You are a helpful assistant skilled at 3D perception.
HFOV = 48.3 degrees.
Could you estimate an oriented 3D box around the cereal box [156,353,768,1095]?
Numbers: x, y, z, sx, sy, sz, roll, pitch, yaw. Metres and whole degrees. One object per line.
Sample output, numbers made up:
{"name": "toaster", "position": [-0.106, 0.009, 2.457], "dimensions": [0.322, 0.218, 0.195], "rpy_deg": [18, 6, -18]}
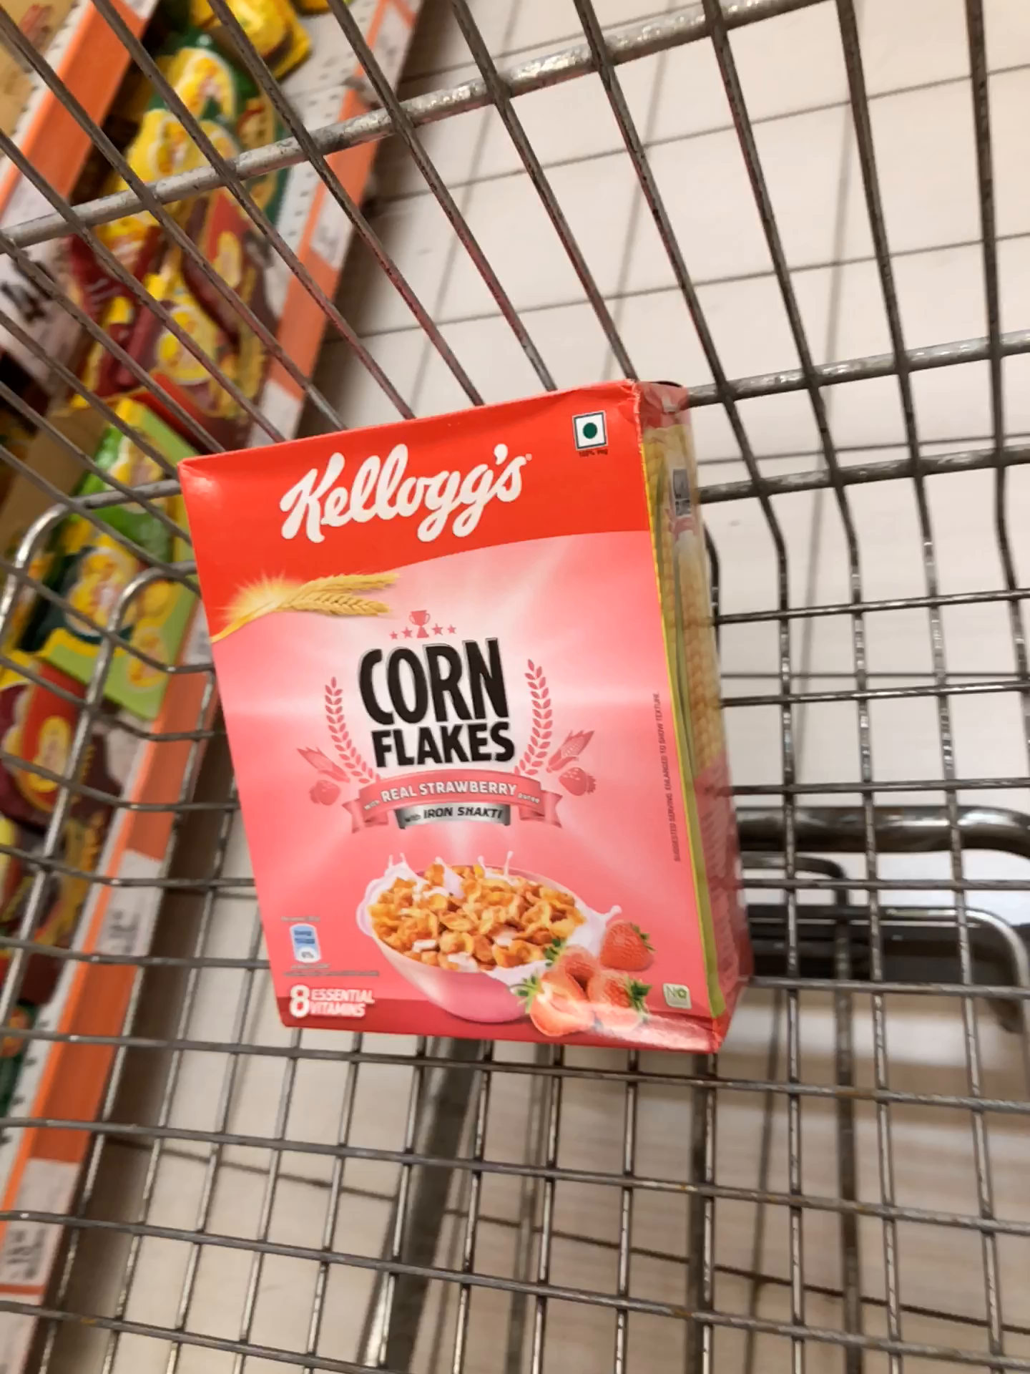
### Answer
{"name": "cereal box", "position": [-0.013, 0.013, 0.322], "dimensions": [0.140, 0.050, 0.180], "rpy_deg": [-4, 99, 23]}
